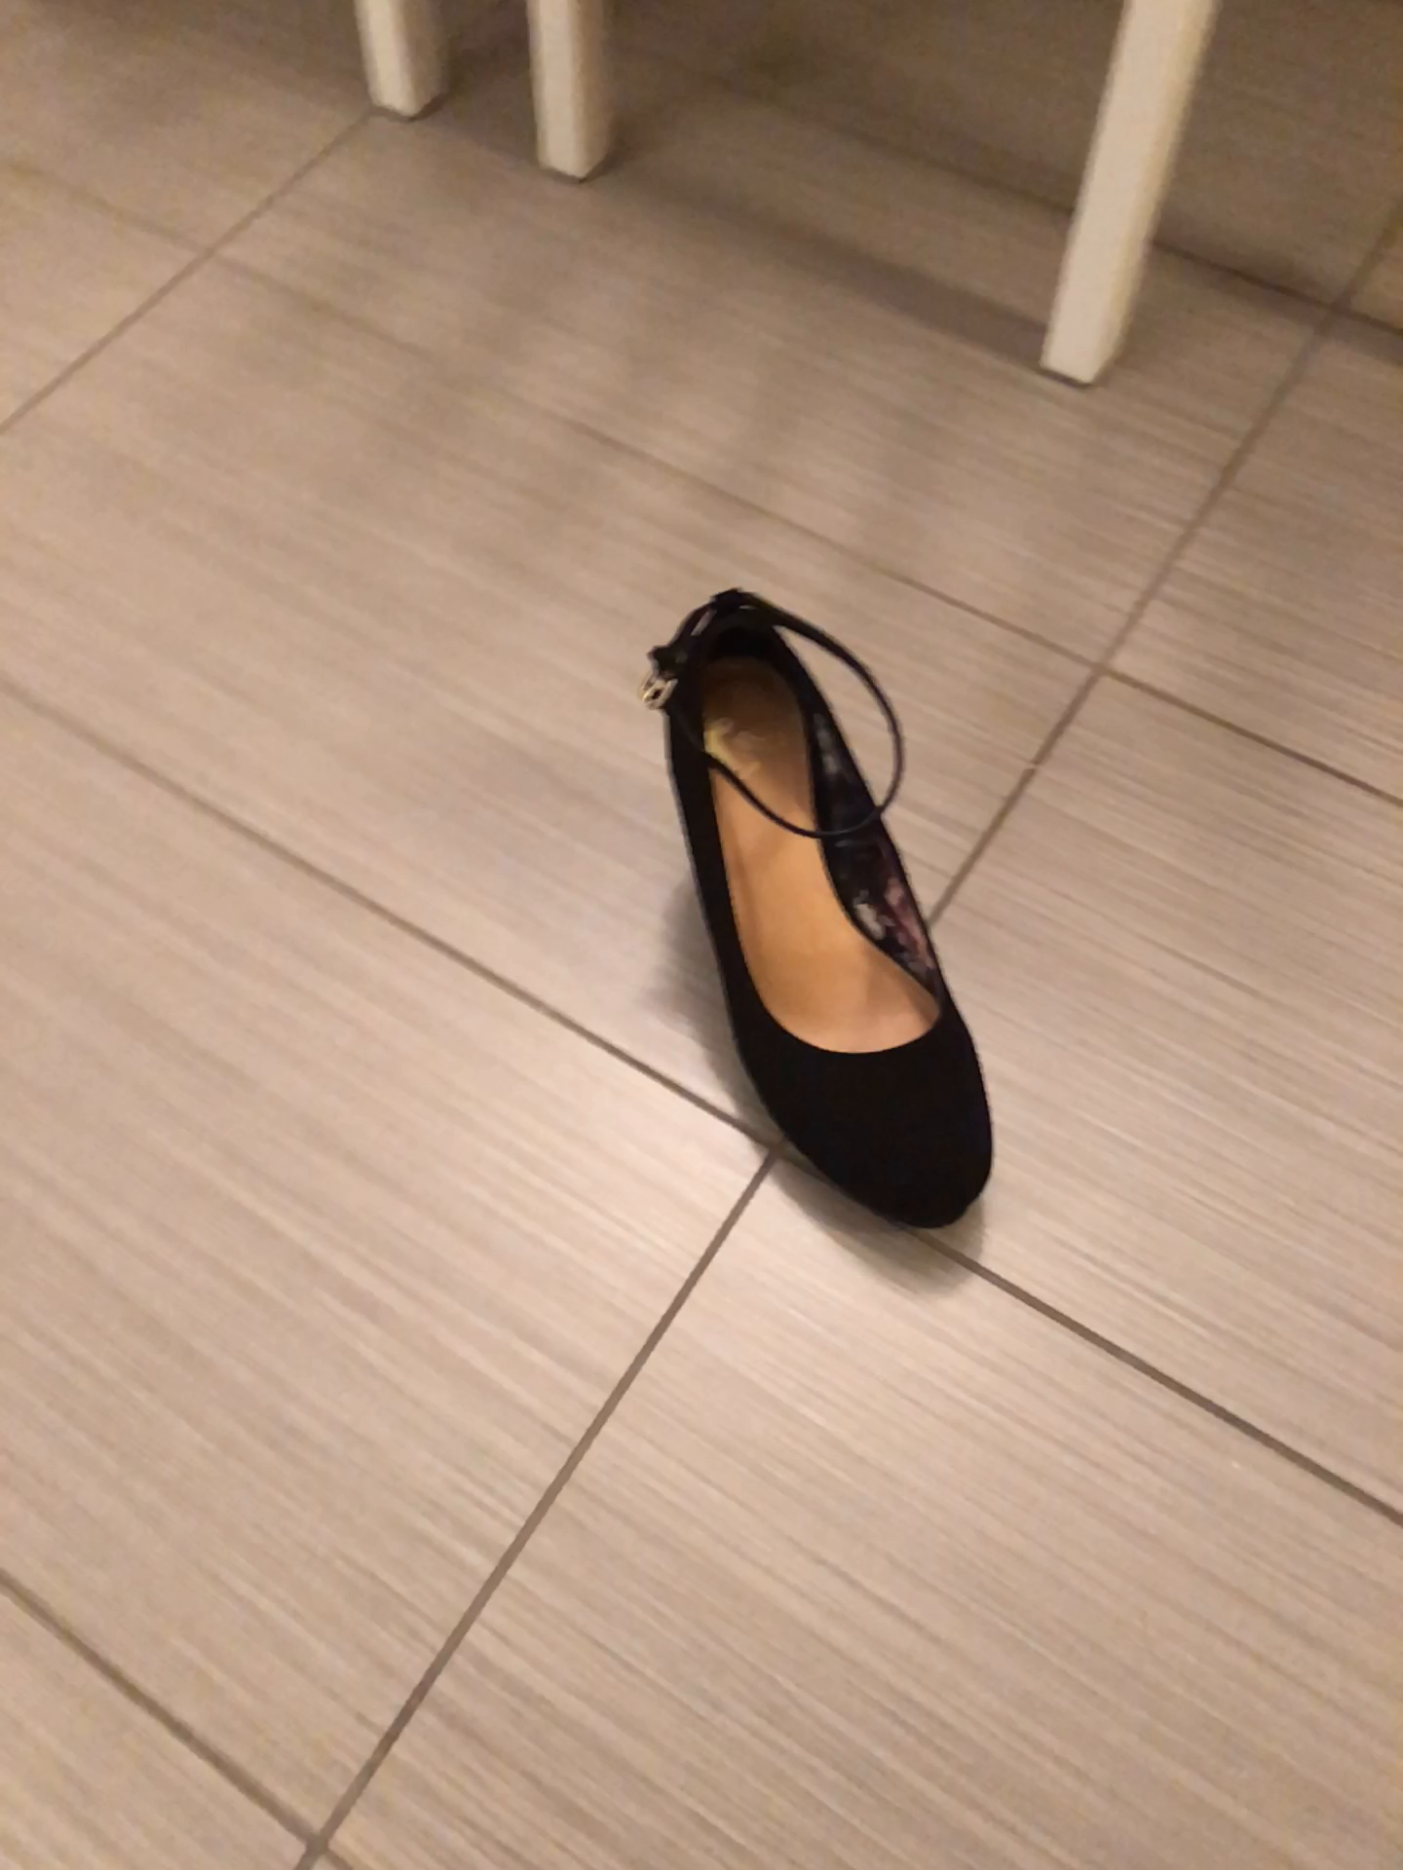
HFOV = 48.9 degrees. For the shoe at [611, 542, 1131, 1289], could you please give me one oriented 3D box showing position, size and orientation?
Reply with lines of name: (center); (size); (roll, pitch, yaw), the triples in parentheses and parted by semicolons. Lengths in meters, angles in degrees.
shoe: (0.055, -0.008, 0.609); (0.100, 0.140, 0.241); (-18, 61, -7)
